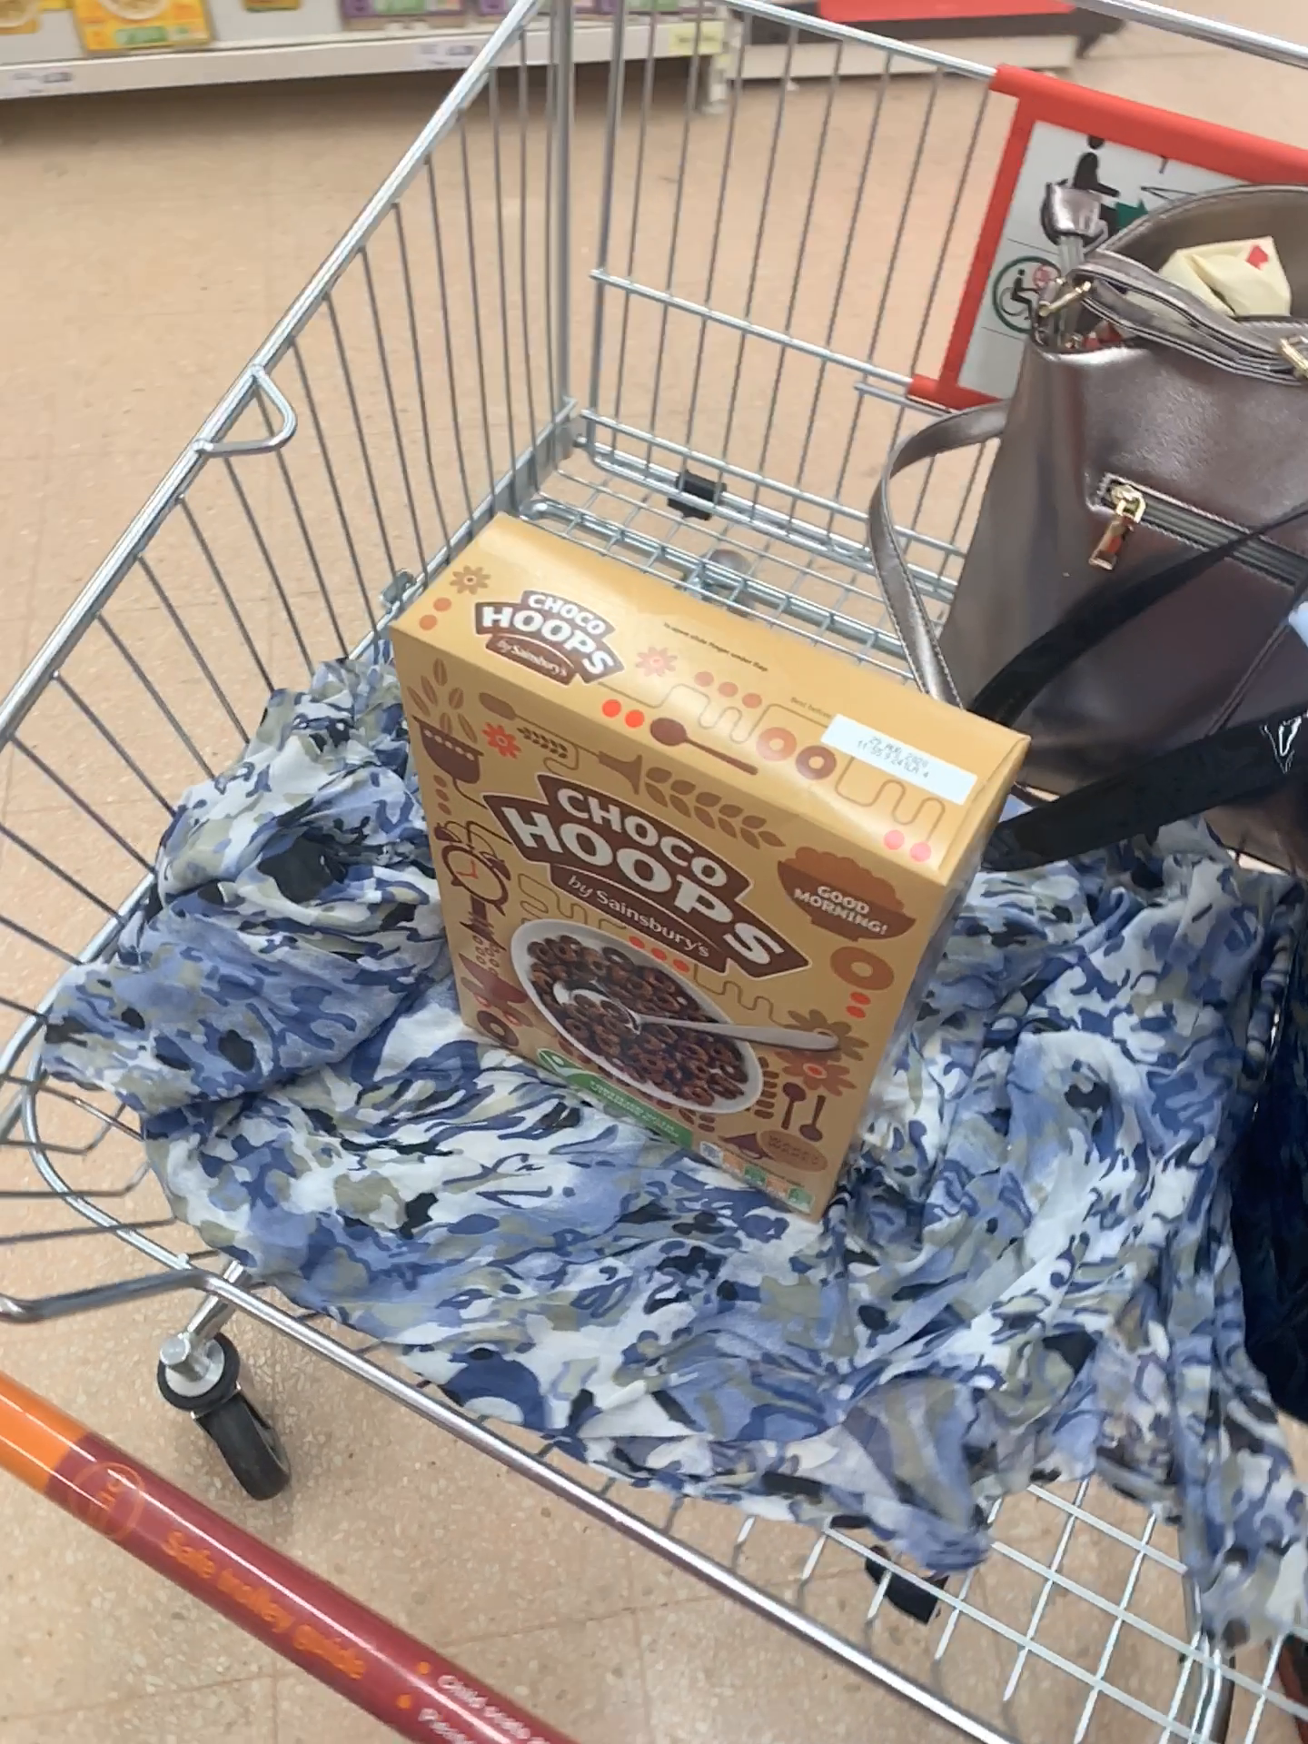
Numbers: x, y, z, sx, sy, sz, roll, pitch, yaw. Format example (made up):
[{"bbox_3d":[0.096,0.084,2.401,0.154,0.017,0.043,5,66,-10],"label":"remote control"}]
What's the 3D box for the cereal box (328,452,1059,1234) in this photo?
[{"bbox_3d":[0.002,0.012,0.537,0.220,0.298,0.070,27,59,14],"label":"cereal box"}]
